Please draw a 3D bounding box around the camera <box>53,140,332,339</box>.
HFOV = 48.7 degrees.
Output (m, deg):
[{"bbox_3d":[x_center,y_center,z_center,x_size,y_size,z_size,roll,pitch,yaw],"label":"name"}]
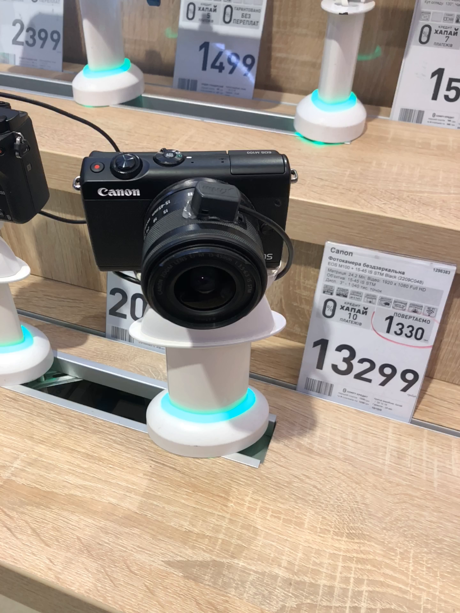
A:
[{"bbox_3d":[-0.018,-0.037,0.254,0.112,0.060,0.082,-2,43,-5],"label":"camera"}]
